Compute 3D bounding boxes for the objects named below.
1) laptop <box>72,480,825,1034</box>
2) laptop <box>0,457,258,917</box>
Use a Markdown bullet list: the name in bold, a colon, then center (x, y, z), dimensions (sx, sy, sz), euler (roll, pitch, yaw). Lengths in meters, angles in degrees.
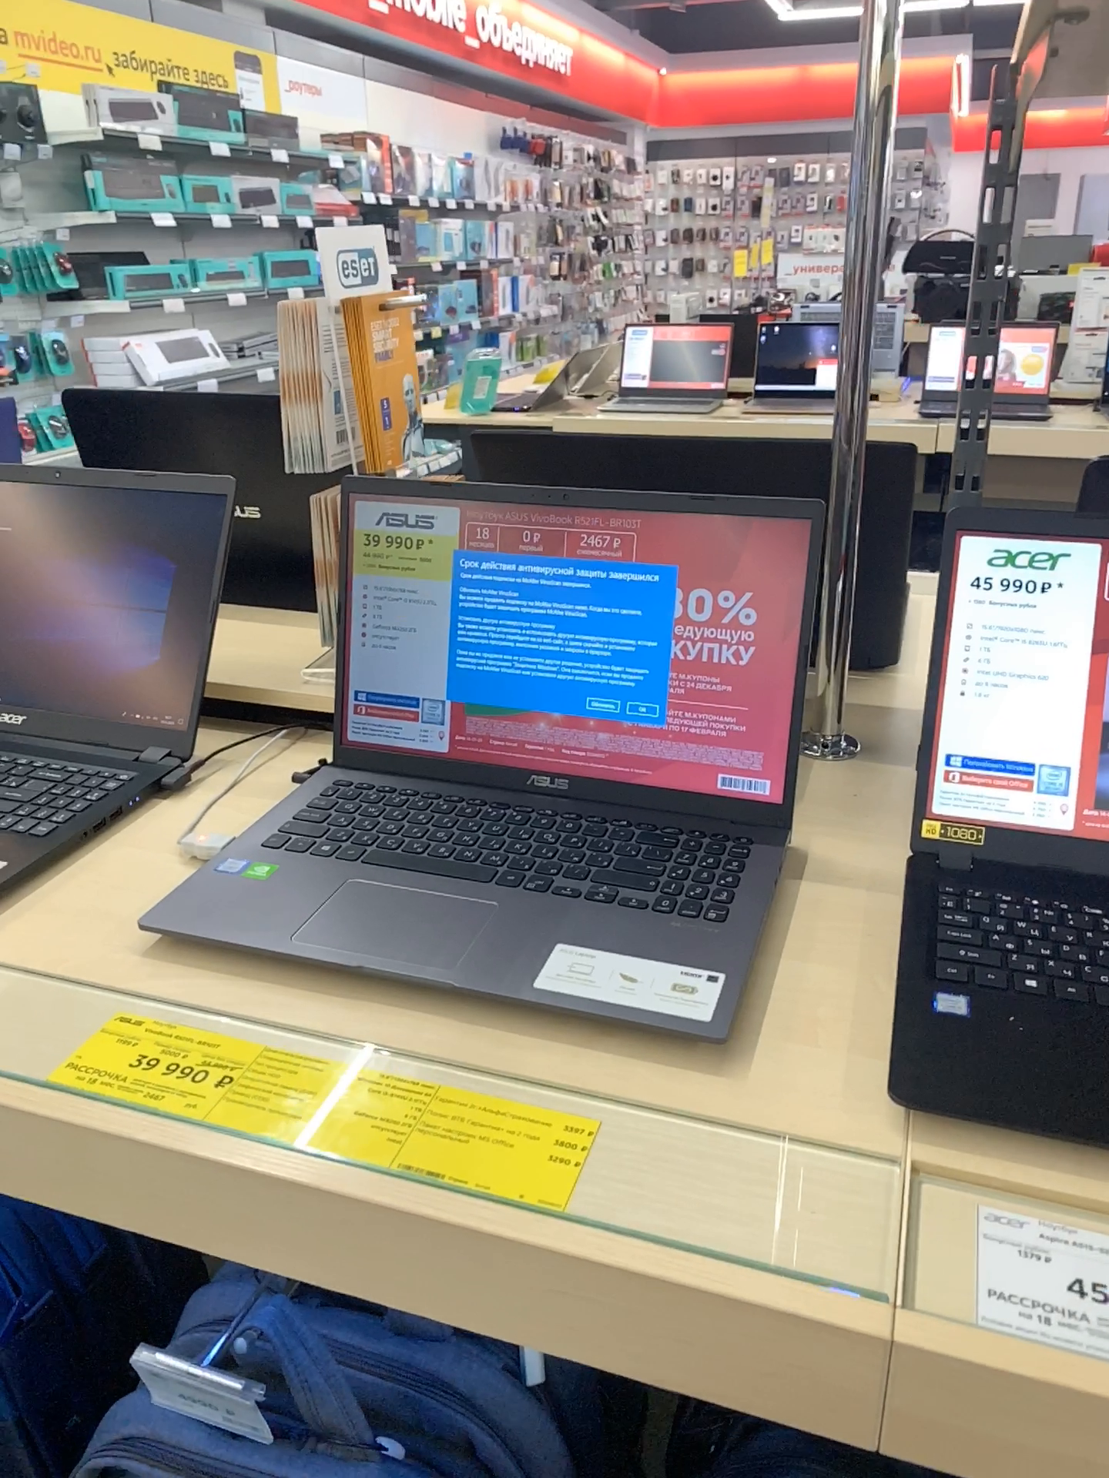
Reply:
- **laptop**: center (-0.038, -0.023, 0.731), dimensions (0.366, 0.217, 0.299), euler (6, 24, 18)
- **laptop**: center (-0.498, -0.074, 0.880), dimensions (0.350, 0.214, 0.363), euler (7, 24, 17)
